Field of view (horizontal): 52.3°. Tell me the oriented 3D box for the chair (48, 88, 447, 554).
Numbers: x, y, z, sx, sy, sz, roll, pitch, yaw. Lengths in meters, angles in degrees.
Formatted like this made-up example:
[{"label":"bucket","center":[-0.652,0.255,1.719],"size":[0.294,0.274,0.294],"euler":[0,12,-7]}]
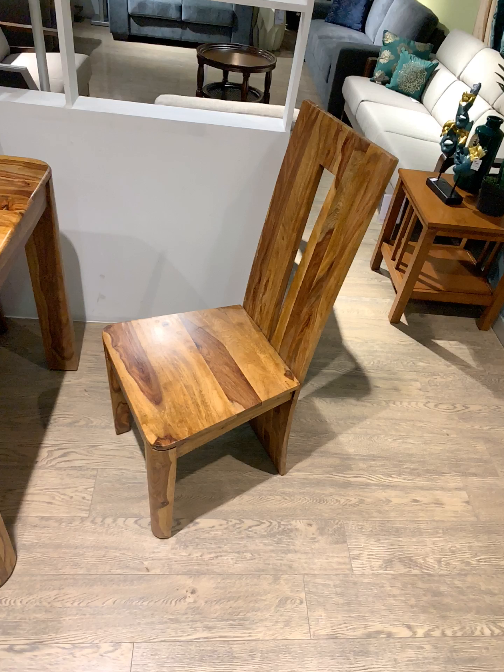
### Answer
[{"label":"chair","center":[-0.075,-0.022,1.301],"size":[0.601,0.966,0.501],"euler":[-16,48,-26]}]
